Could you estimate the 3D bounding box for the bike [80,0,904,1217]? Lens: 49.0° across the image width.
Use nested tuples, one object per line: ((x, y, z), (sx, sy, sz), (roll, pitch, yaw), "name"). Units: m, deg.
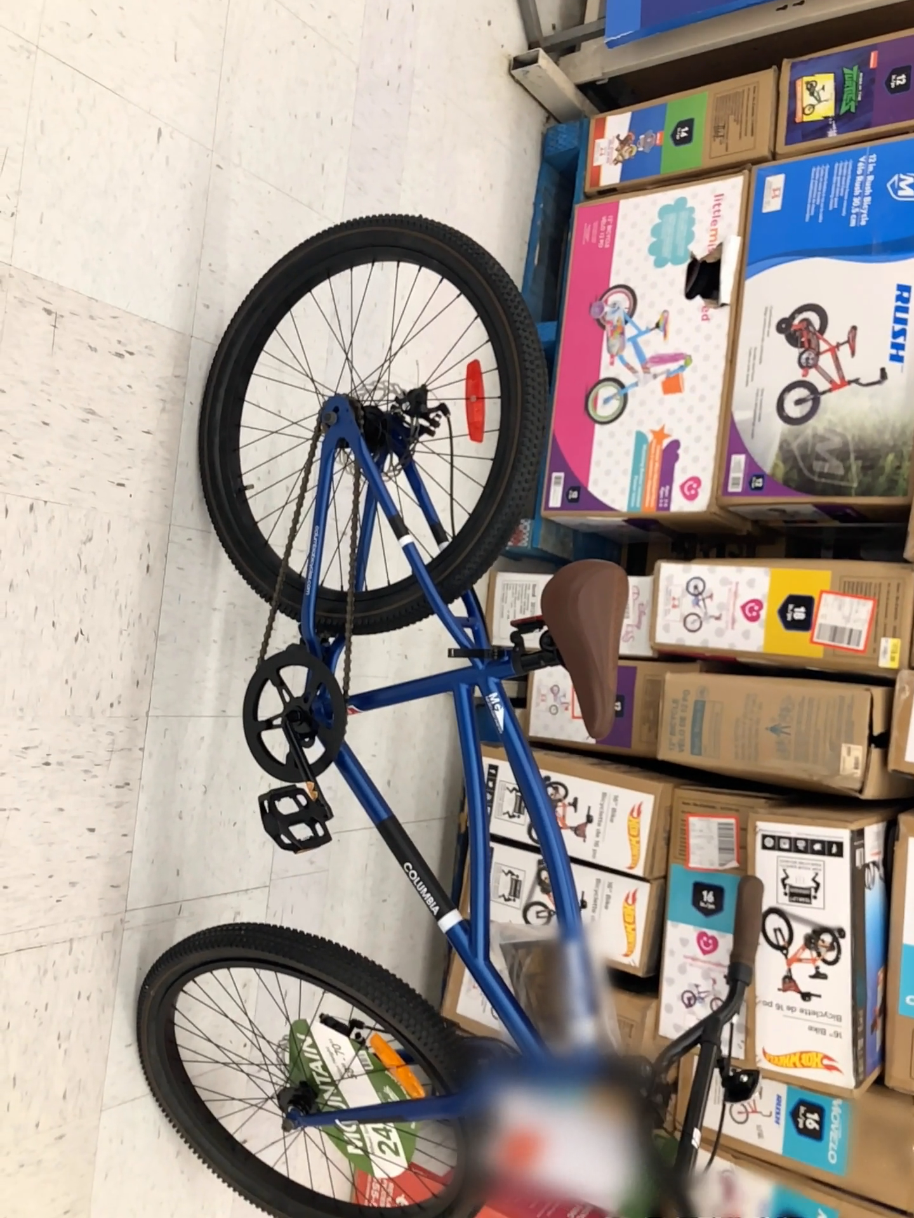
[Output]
((0.030, 0.232, 1.437), (0.652, 0.928, 1.552), (-4, 96, -54), "bike")
